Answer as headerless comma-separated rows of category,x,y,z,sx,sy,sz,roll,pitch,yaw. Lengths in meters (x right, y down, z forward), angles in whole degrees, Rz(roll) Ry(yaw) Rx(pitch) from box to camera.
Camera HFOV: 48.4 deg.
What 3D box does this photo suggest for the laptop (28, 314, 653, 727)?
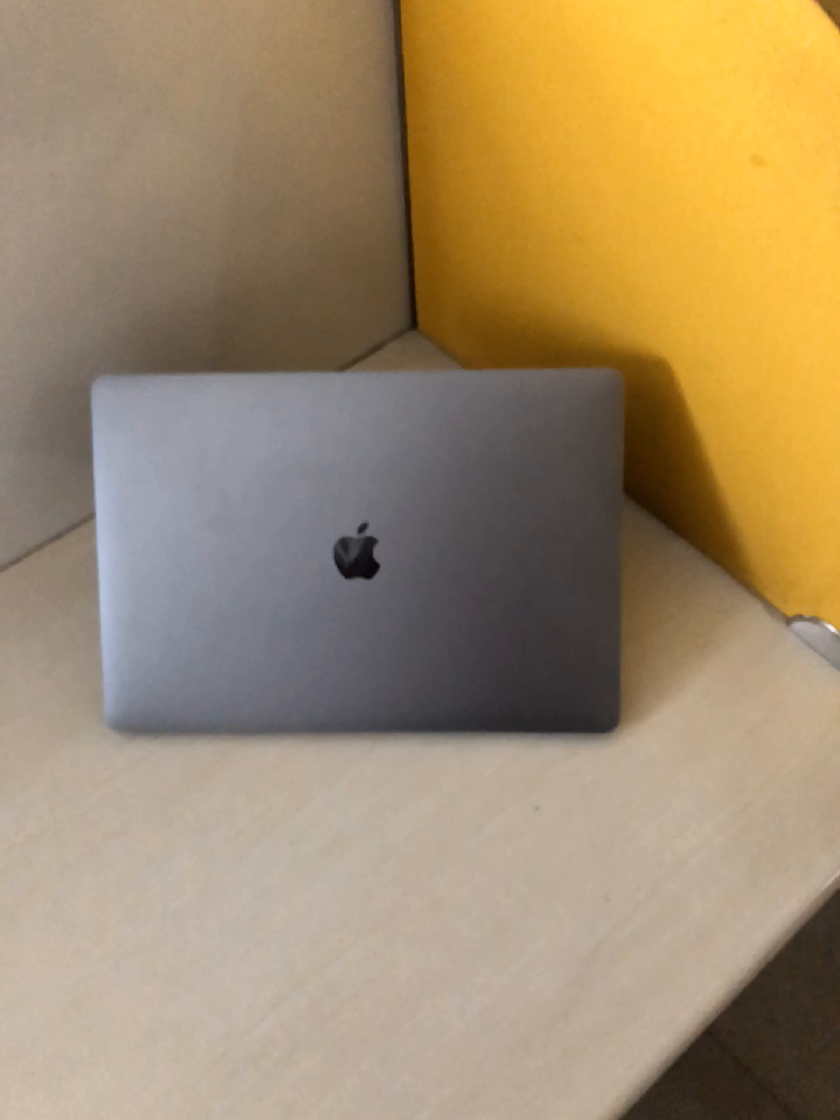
laptop,-0.040,-0.027,0.641,0.344,0.152,0.237,0,56,2
